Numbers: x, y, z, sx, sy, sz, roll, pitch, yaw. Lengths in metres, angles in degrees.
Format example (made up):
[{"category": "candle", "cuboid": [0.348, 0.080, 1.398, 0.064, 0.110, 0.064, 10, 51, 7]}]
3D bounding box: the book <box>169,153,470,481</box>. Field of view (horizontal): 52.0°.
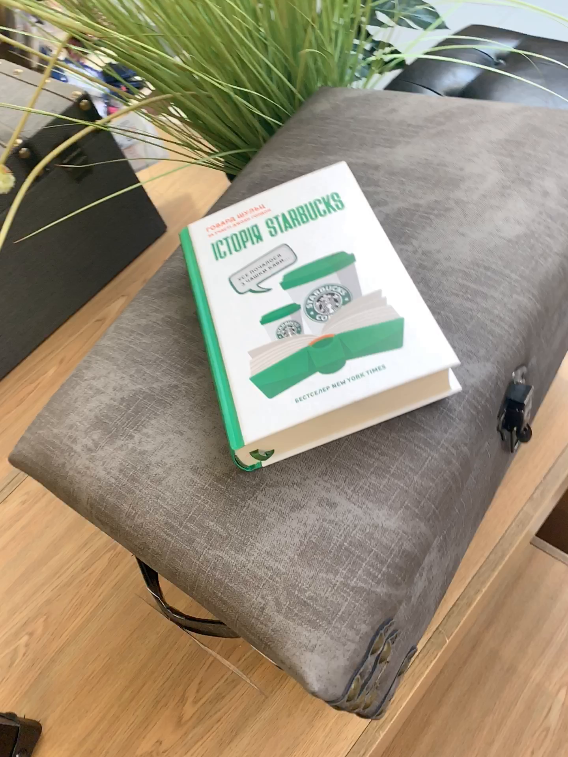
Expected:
[{"category": "book", "cuboid": [0.010, -0.061, 0.438, 0.160, 0.040, 0.236, -22, 52, 4]}]
